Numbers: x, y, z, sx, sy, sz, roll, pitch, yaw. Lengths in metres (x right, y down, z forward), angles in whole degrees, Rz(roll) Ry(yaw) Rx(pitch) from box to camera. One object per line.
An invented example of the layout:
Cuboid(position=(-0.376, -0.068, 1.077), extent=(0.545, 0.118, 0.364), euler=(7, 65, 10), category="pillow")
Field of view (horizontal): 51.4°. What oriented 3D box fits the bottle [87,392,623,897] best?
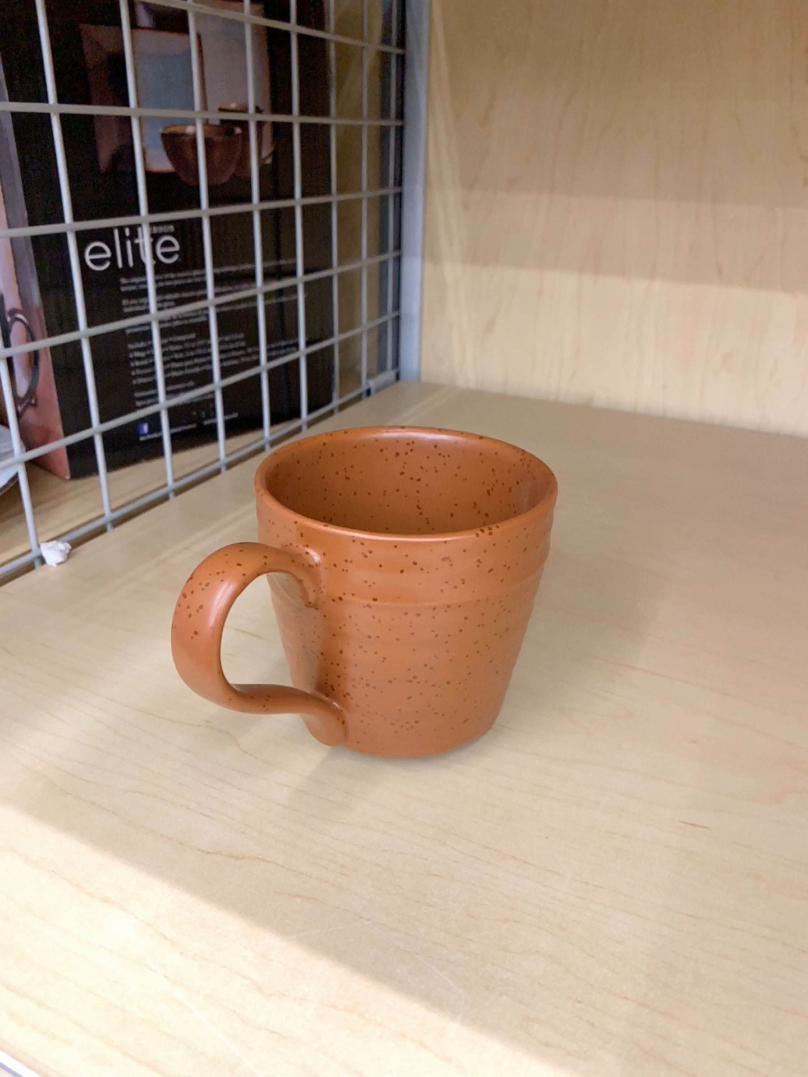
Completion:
Cuboid(position=(-0.010, 0.018, 0.283), extent=(0.100, 0.090, 0.140), euler=(20, 31, 34), category="bottle")
